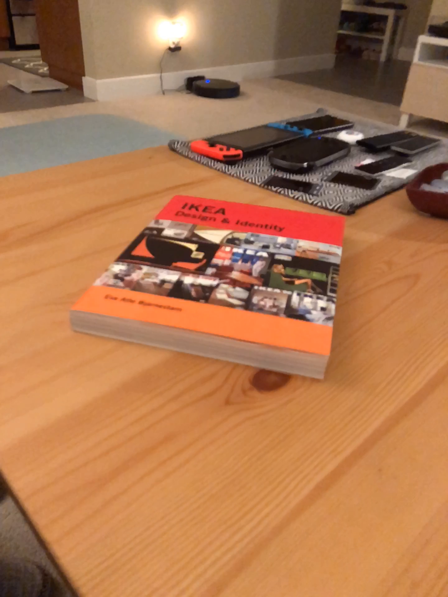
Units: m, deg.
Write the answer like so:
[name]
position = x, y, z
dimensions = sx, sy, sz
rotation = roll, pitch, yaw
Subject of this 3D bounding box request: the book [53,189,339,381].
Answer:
[book]
position = -0.004, -0.036, 0.492
dimensions = 0.216, 0.030, 0.256
rotation = 10, 34, 10
